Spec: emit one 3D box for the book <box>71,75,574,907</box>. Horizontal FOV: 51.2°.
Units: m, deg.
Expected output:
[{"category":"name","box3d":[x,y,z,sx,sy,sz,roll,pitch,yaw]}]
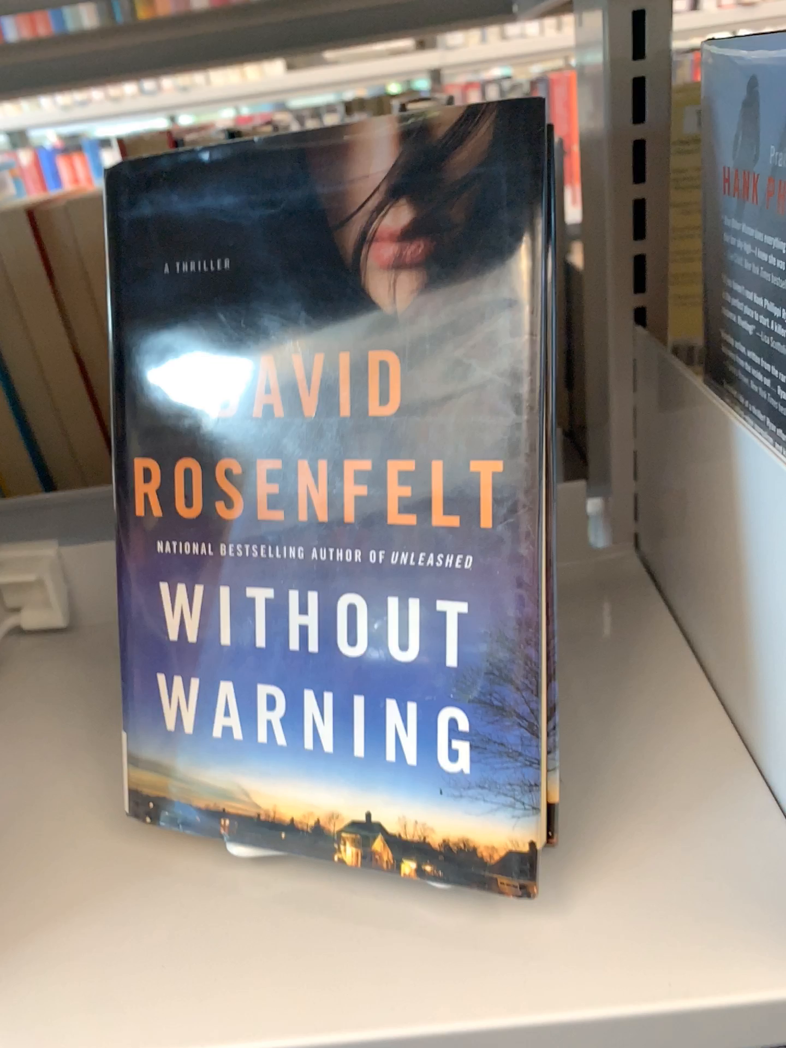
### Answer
[{"category":"book","box3d":[-0.025,-0.007,0.270,0.157,0.230,0.035,2,8,21]}]
